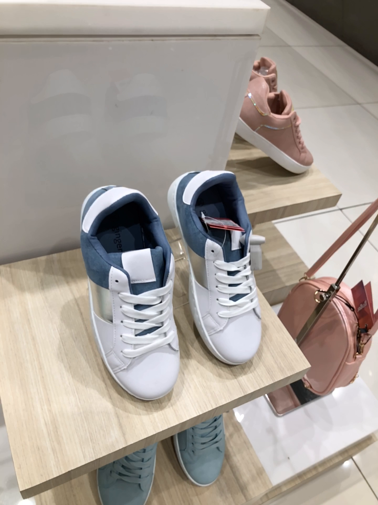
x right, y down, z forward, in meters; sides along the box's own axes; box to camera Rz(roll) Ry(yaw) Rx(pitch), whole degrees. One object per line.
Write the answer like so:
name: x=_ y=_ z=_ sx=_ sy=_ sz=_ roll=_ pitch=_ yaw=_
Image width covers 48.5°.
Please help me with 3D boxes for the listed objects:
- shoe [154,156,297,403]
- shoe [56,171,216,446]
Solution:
shoe: x=0.045 y=0.026 z=0.519 sx=0.102 sy=0.263 sz=0.104 roll=-13 pitch=11 yaw=-25
shoe: x=-0.059 y=0.053 z=0.465 sx=0.092 sy=0.261 sz=0.104 roll=-16 pitch=10 yaw=-26
